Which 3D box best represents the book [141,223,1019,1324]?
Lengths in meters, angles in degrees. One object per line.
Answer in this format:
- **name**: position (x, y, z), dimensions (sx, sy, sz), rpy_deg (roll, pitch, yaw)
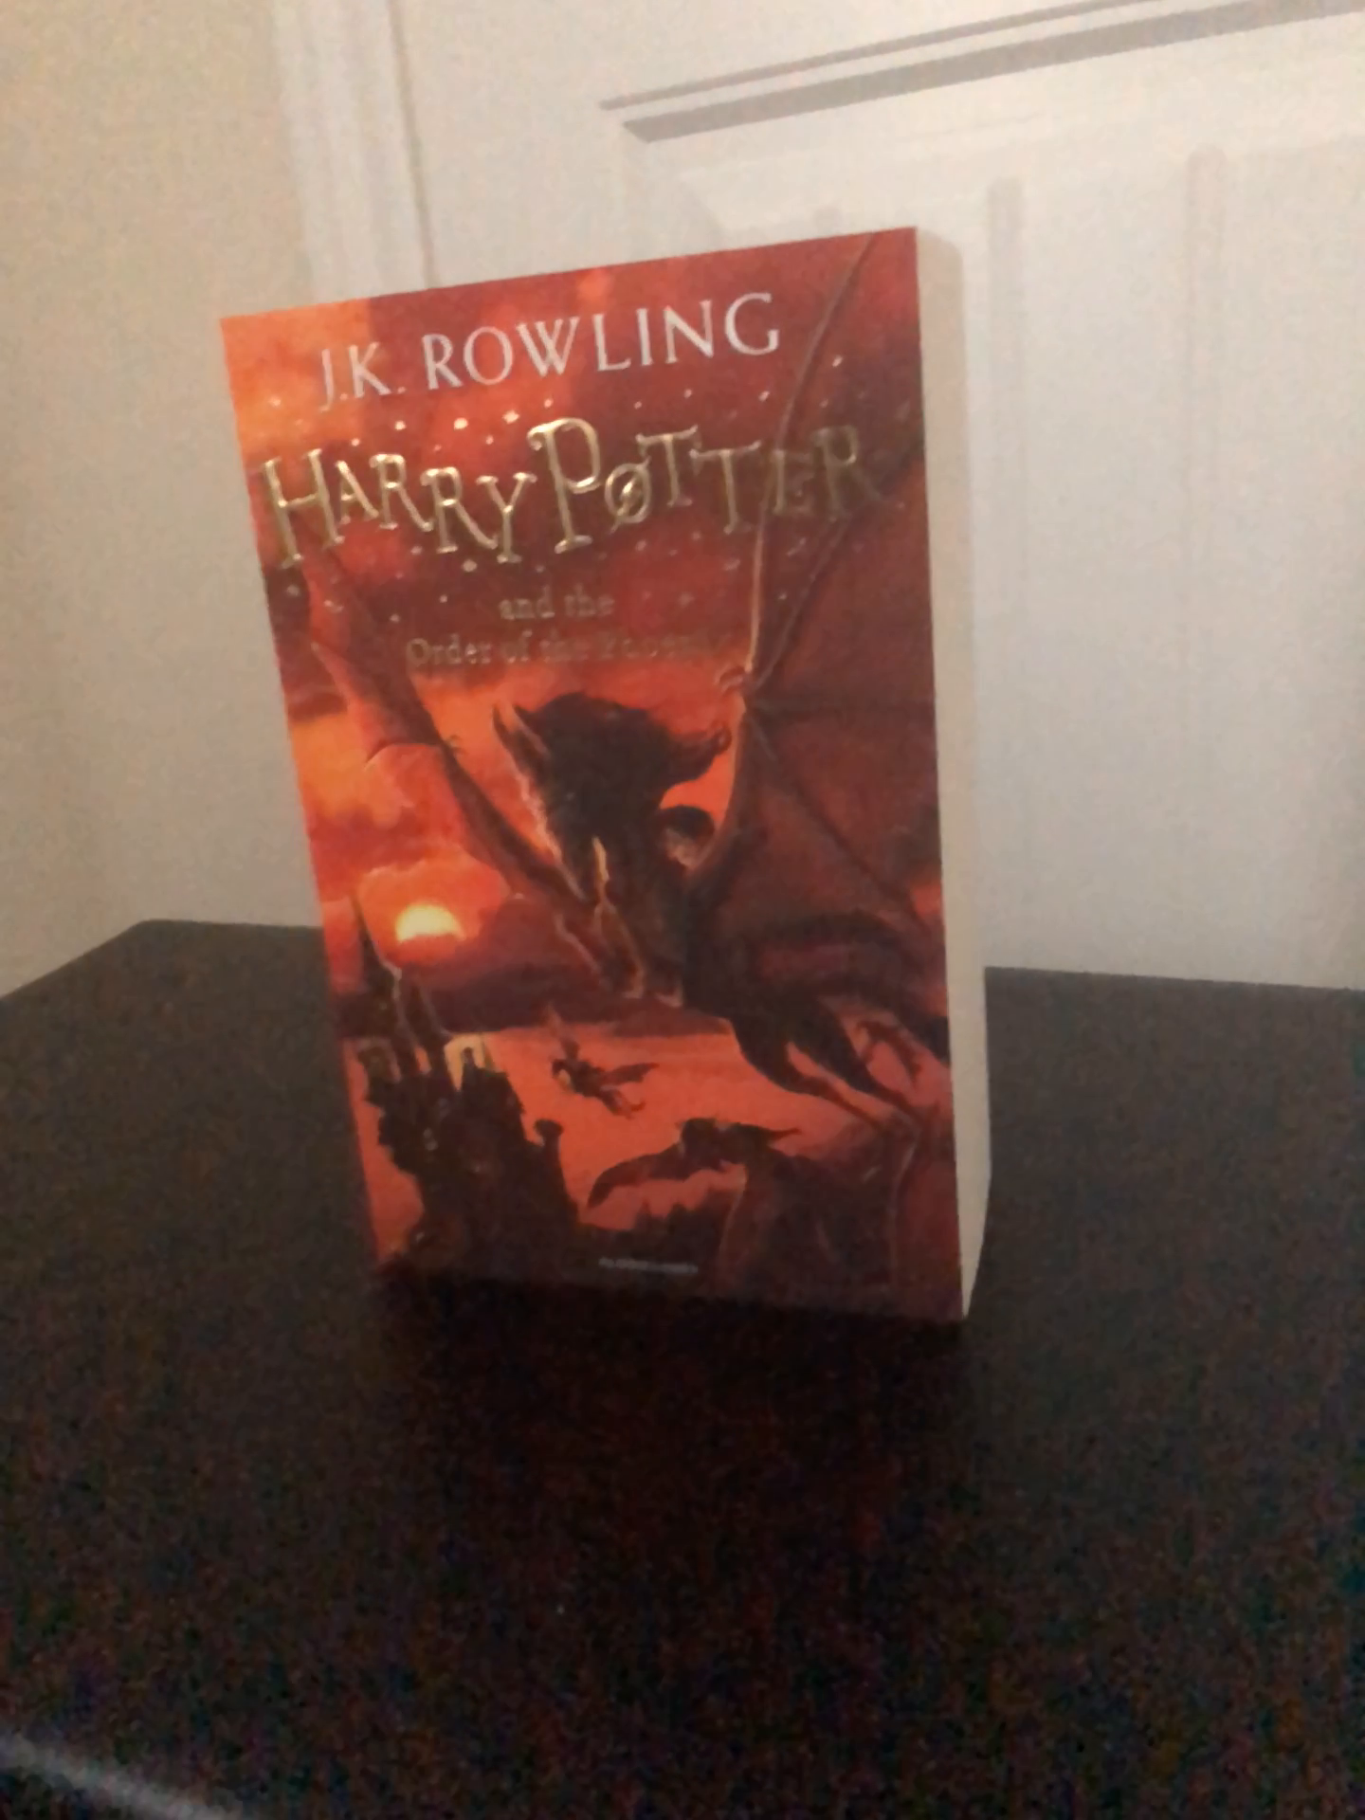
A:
- **book**: position (-0.009, -0.023, 0.300), dimensions (0.141, 0.189, 0.061), rpy_deg (0, 20, 17)
